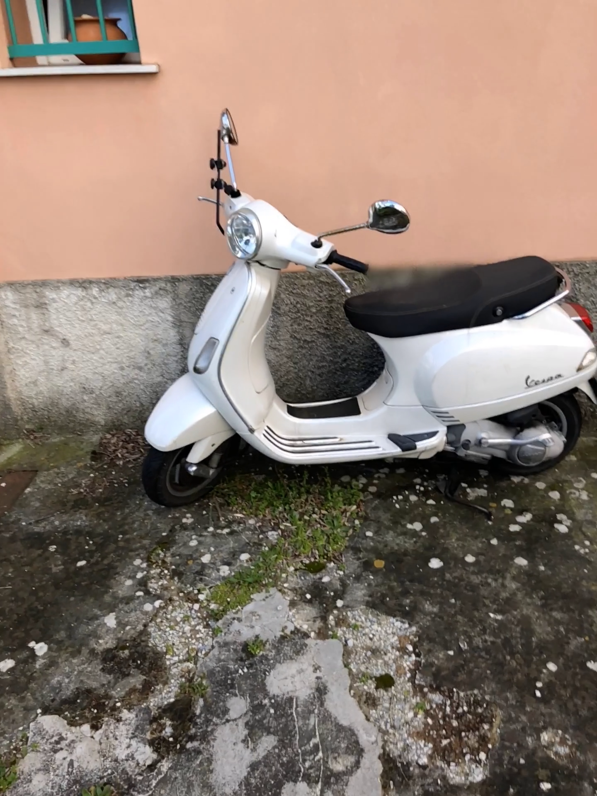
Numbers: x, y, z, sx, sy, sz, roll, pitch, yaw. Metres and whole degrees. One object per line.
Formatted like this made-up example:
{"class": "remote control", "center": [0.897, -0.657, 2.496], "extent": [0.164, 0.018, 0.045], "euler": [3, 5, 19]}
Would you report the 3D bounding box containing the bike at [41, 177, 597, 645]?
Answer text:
{"class": "bike", "center": [0.230, -0.004, 2.115], "extent": [1.657, 1.085, 0.647], "euler": [-7, 25, -4]}
